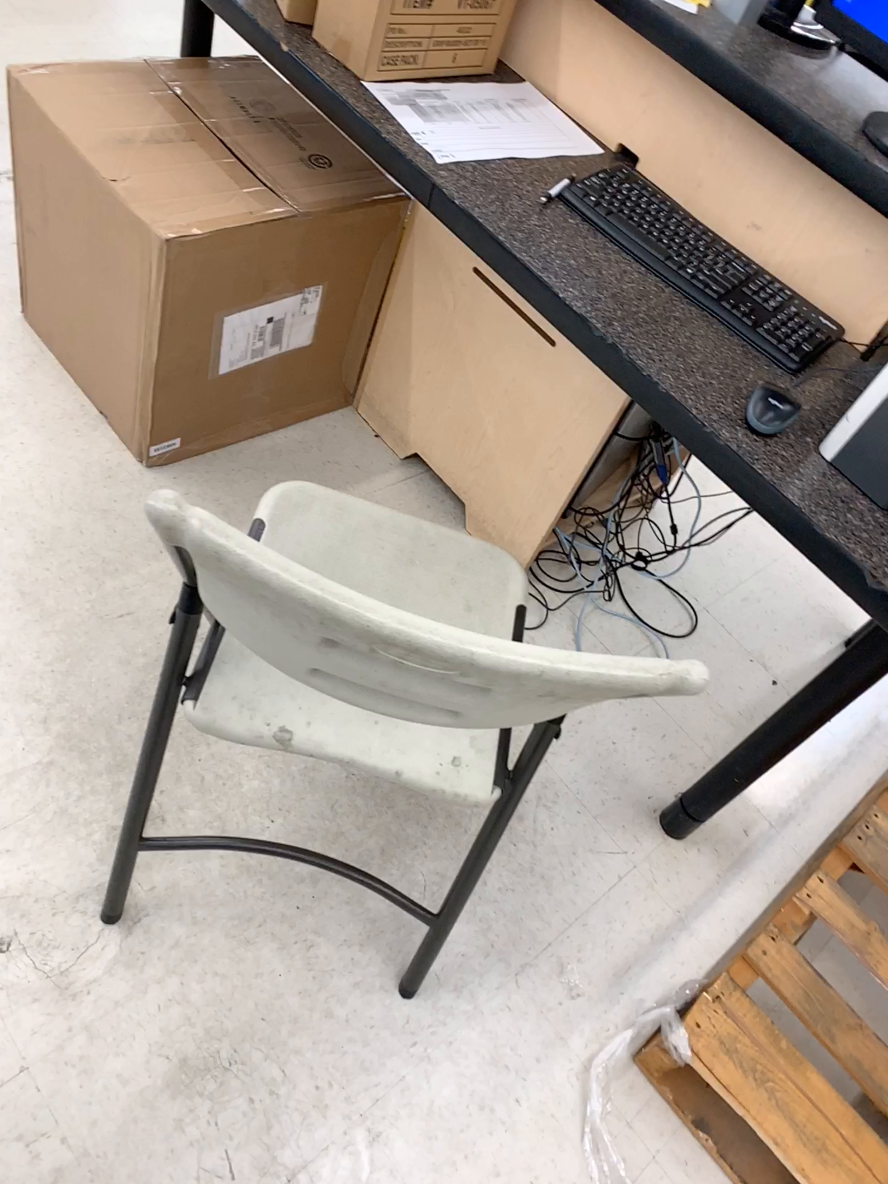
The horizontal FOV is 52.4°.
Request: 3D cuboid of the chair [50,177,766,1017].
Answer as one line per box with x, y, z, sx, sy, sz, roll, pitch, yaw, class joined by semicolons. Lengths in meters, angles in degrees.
-0.083;0.067;1.097;0.530;0.747;0.562;18;49;-8;chair
